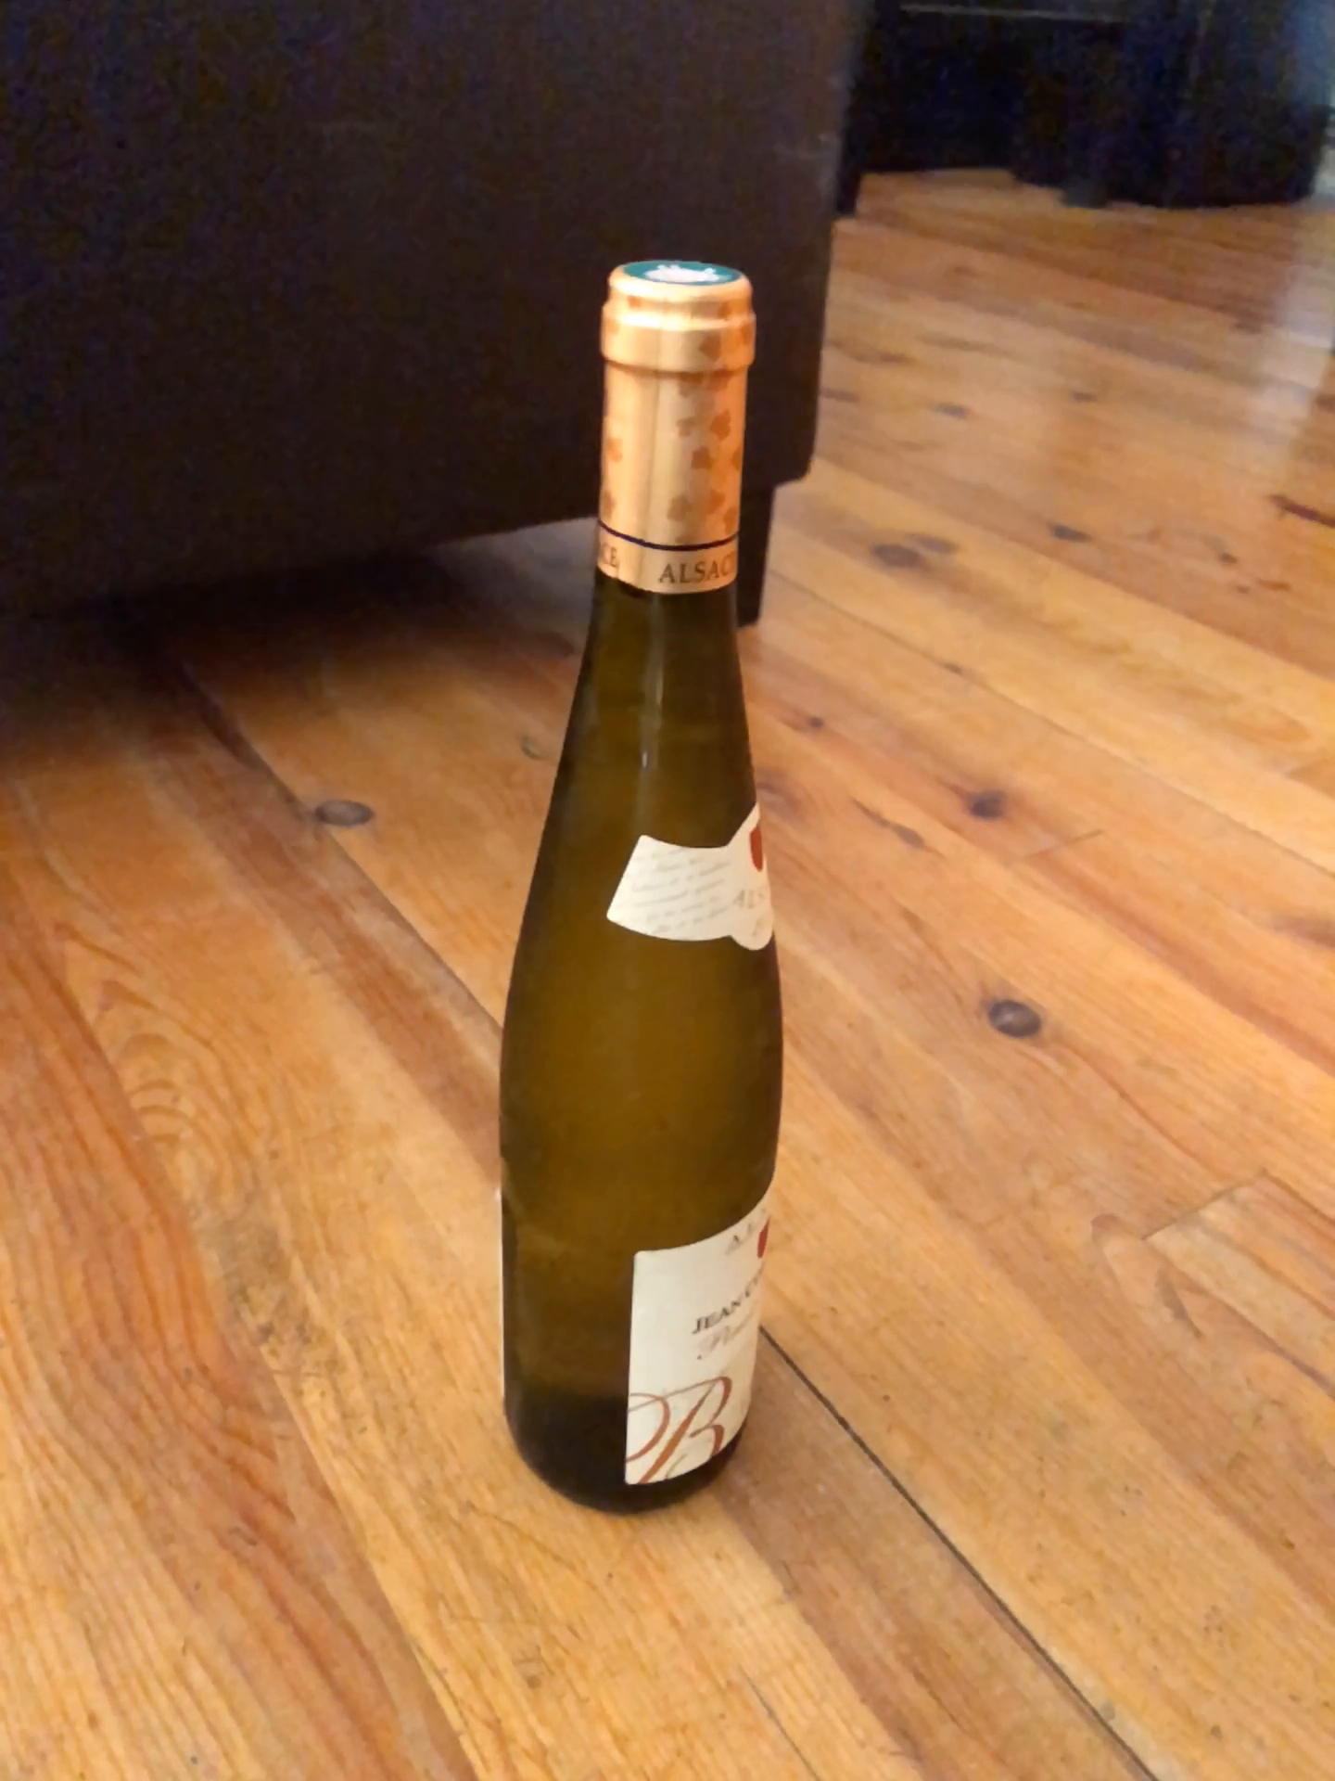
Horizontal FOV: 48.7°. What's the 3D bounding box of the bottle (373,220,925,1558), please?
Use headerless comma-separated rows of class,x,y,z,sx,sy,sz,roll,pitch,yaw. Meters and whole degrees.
bottle,-0.007,0.018,0.361,0.080,0.318,0.081,2,32,-1
